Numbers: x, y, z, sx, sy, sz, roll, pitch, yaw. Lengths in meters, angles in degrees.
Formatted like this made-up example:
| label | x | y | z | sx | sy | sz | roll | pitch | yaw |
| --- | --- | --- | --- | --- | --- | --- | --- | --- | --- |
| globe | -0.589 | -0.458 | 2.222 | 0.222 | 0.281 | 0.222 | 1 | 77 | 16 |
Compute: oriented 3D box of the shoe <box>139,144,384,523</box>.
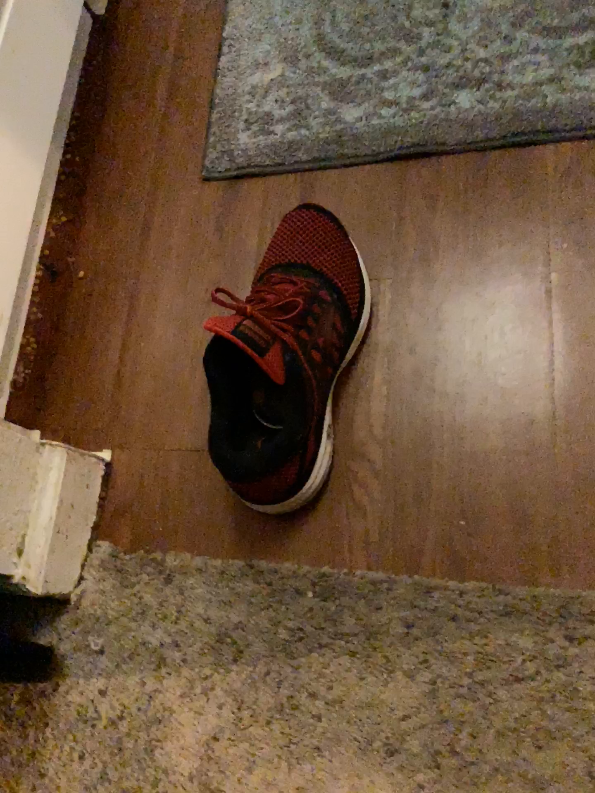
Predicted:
| label | x | y | z | sx | sy | sz | roll | pitch | yaw |
| --- | --- | --- | --- | --- | --- | --- | --- | --- | --- |
| shoe | -0.016 | -0.055 | 0.598 | 0.130 | 0.140 | 0.300 | 5 | 73 | 18 |
